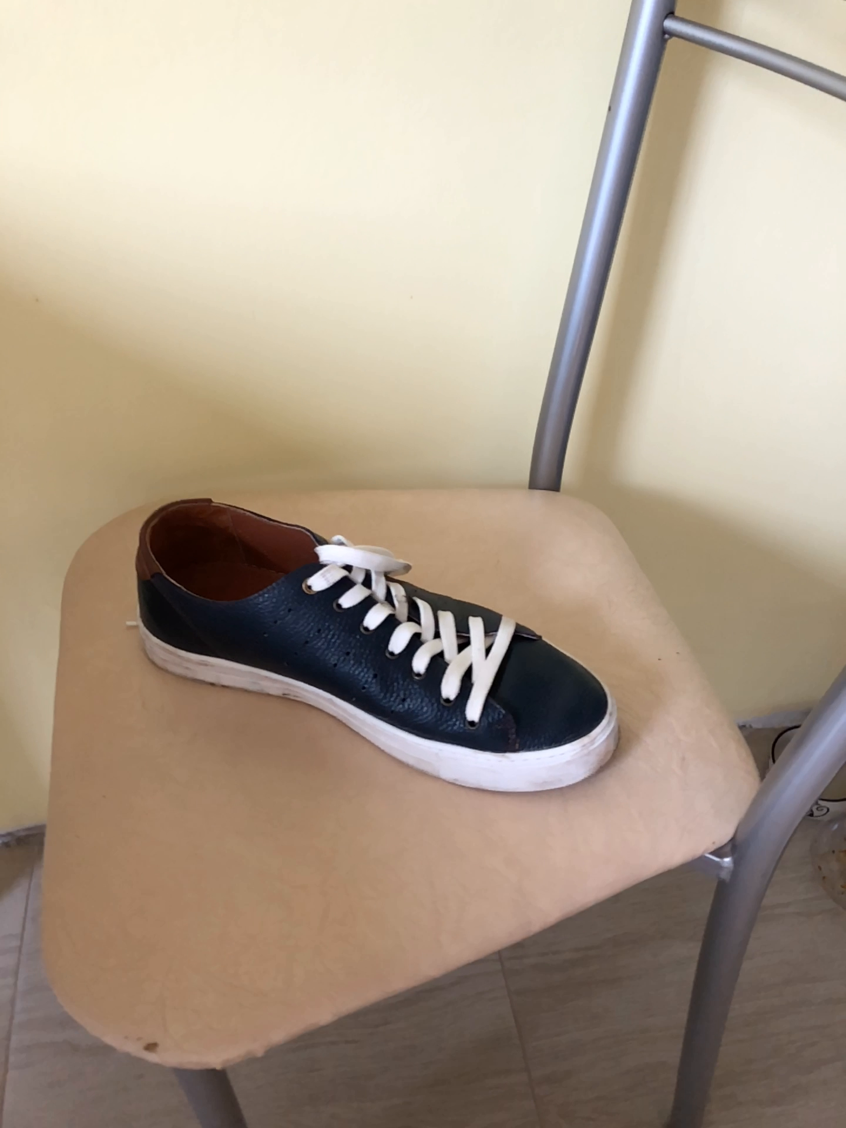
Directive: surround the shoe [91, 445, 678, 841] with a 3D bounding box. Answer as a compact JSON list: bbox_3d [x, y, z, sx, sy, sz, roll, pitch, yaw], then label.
[{"bbox_3d":[-0.022,0.033,0.517,0.290,0.089,0.111,16,45,18],"label":"shoe"}]
